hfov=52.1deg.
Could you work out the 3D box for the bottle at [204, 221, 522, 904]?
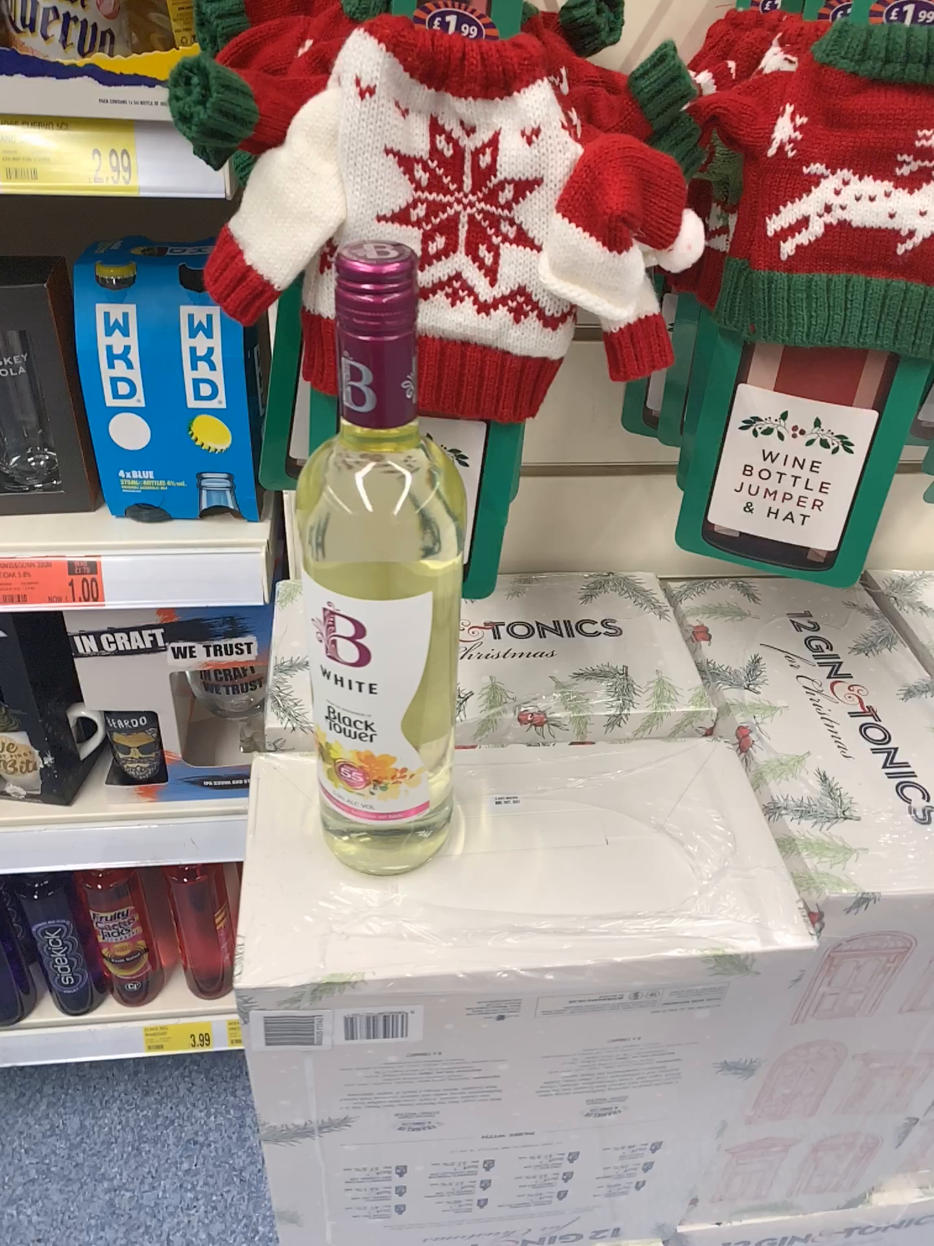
[{"bbox_3d":[-0.042,-0.012,0.425,0.081,0.288,0.081,2,37,-2],"label":"bottle"}]
